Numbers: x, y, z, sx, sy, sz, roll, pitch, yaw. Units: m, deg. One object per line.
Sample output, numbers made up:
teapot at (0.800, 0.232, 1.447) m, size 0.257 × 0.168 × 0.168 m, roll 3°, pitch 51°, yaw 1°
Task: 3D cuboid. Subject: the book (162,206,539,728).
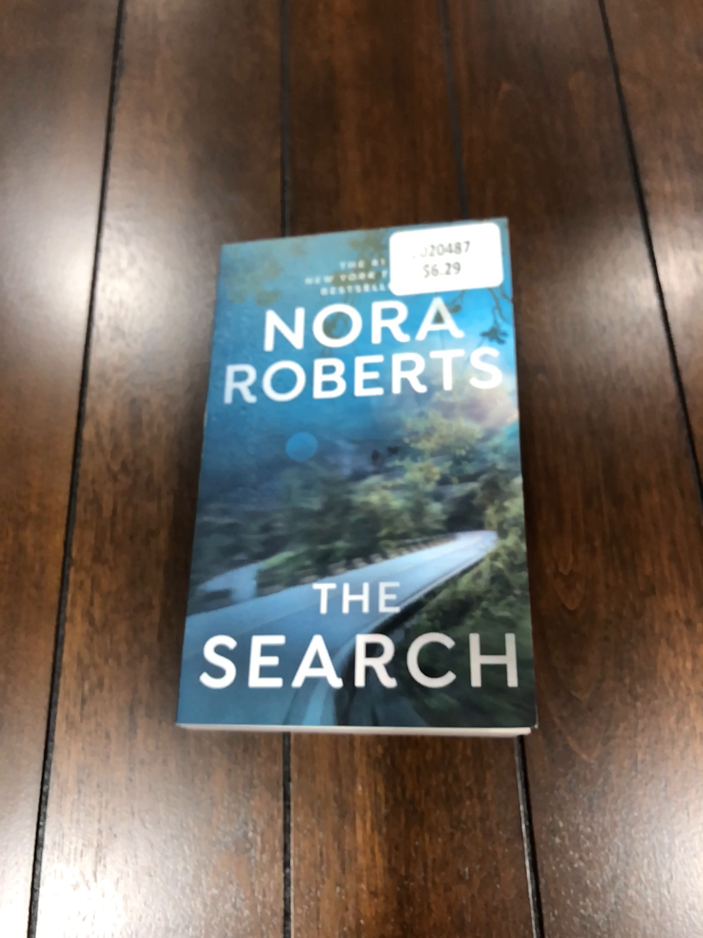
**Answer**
book at (0.004, -0.002, 0.278) m, size 0.108 × 0.050 × 0.170 m, roll -2°, pitch 69°, yaw 9°
